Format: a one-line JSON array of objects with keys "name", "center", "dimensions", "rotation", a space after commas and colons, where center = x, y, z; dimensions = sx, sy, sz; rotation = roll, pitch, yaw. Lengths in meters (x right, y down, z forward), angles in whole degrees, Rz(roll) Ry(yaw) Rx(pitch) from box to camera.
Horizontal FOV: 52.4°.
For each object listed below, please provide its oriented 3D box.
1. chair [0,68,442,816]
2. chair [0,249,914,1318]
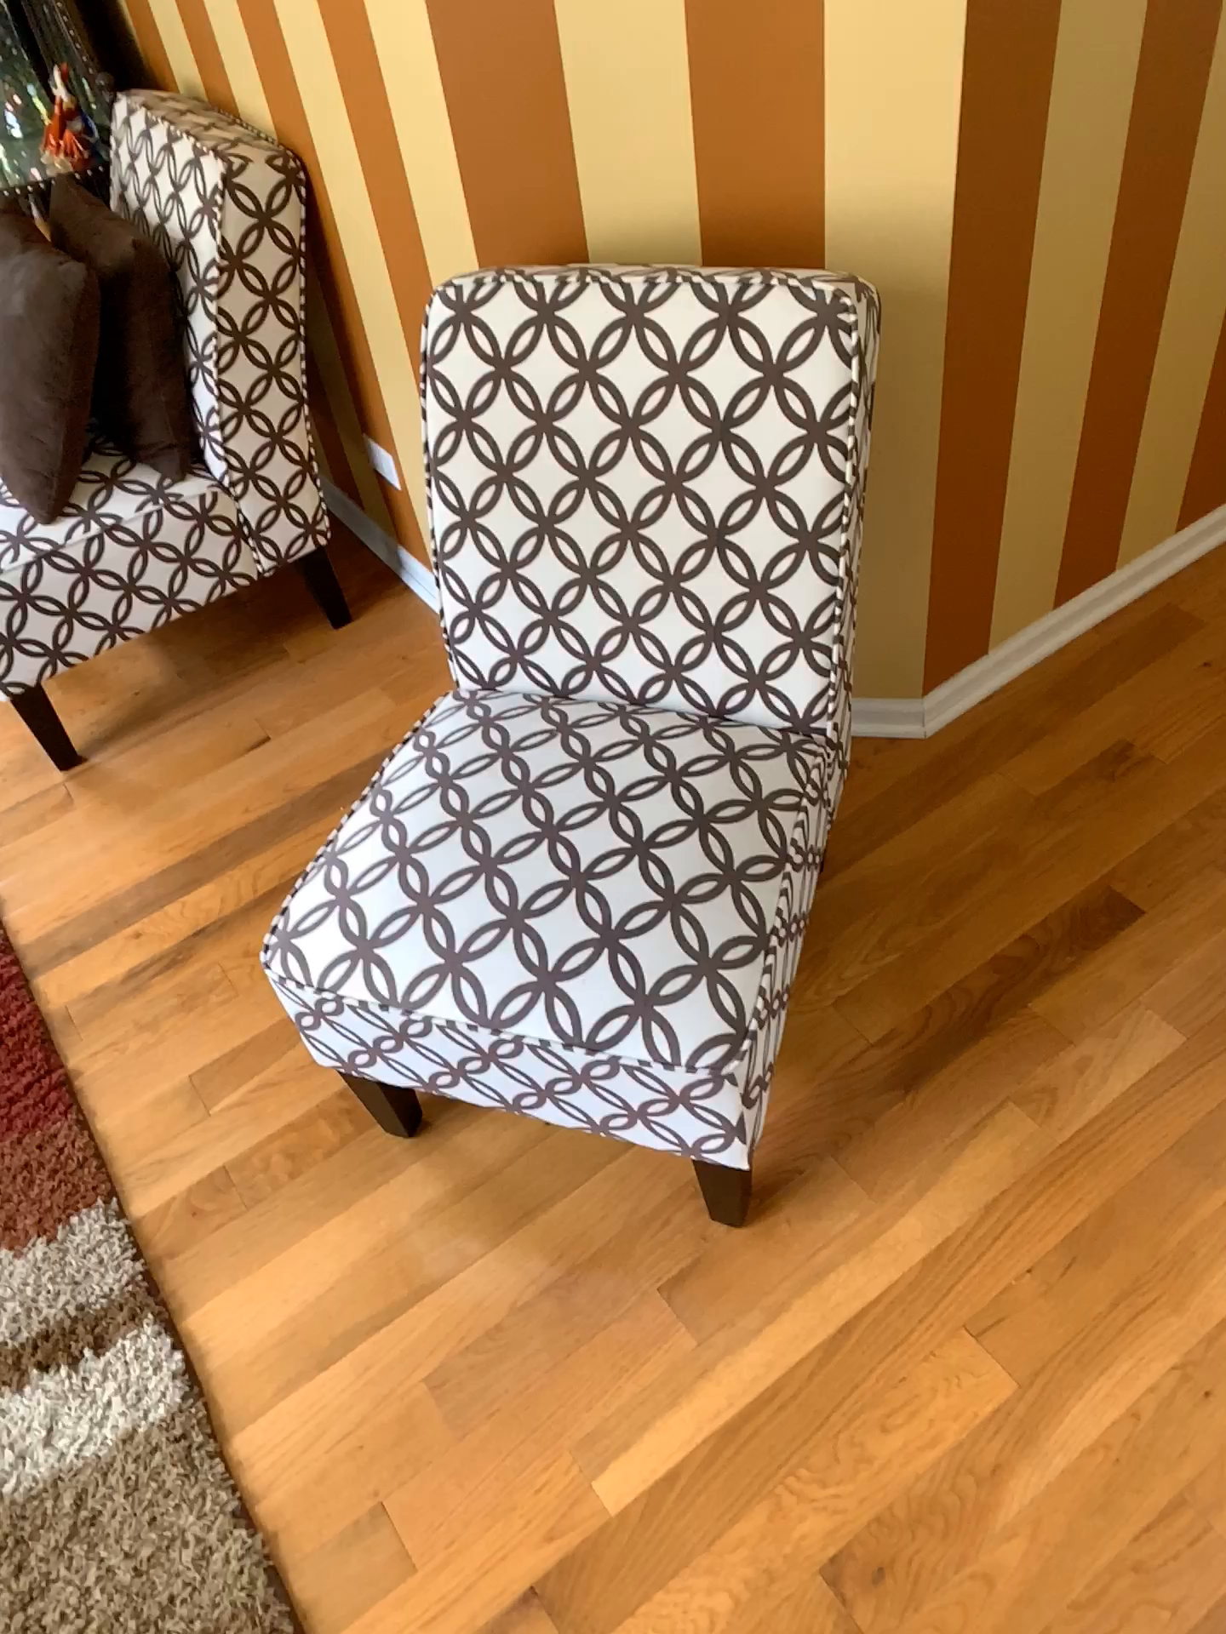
[{"name": "chair", "center": [-0.869, -0.643, 2.115], "dimensions": [0.797, 0.834, 0.595], "rotation": [-30, 48, -19]}, {"name": "chair", "center": [-0.073, -0.067, 1.348], "dimensions": [0.622, 0.775, 0.740], "rotation": [10, 49, 21]}]
